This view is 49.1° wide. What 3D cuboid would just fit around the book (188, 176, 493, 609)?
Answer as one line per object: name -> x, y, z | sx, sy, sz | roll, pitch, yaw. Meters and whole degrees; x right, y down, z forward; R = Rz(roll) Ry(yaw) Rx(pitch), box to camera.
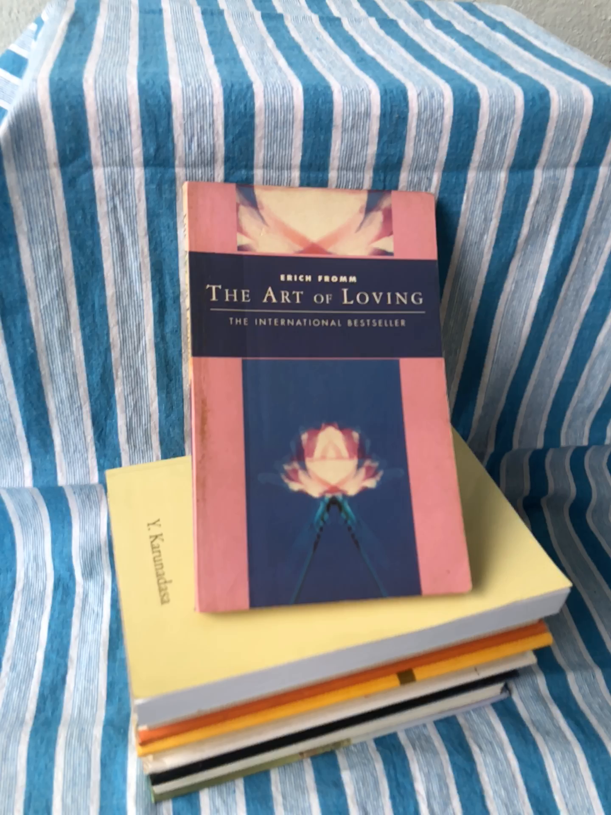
book -> 0.014, -0.012, 0.311 | 0.129, 0.015, 0.193 | -2, 82, -9
